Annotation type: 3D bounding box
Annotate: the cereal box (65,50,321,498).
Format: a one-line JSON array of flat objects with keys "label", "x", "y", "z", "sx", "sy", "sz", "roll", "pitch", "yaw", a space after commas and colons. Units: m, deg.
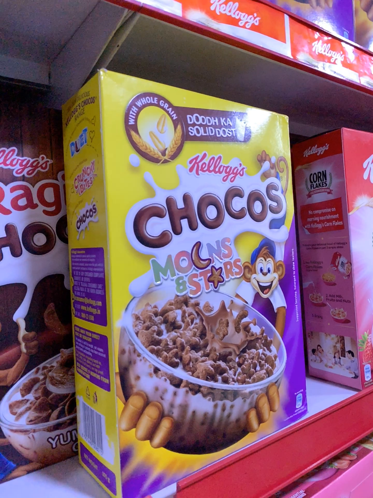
[{"label": "cereal box", "x": 0.015, "y": 0.018, "z": 0.281, "sx": 0.180, "sy": 0.250, "sz": 0.060, "roll": -3, "pitch": 0, "yaw": -39}]
